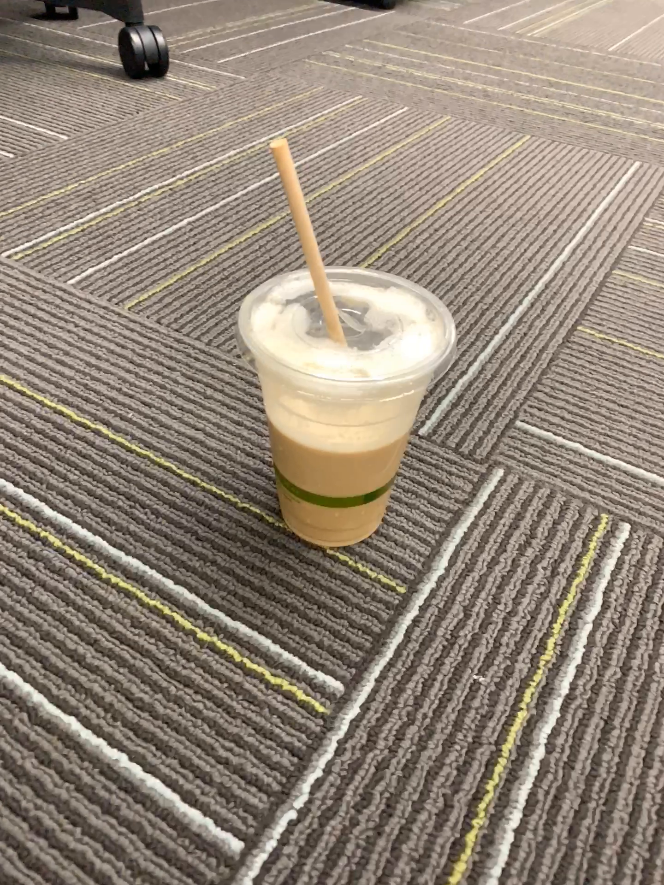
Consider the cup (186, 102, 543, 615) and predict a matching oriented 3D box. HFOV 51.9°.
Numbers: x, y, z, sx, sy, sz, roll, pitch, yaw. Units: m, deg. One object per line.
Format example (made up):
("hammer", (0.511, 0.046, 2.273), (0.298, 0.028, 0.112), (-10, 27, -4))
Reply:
("cup", (0.006, -0.032, 0.304), (0.090, 0.189, 0.090), (2, 42, -2))
